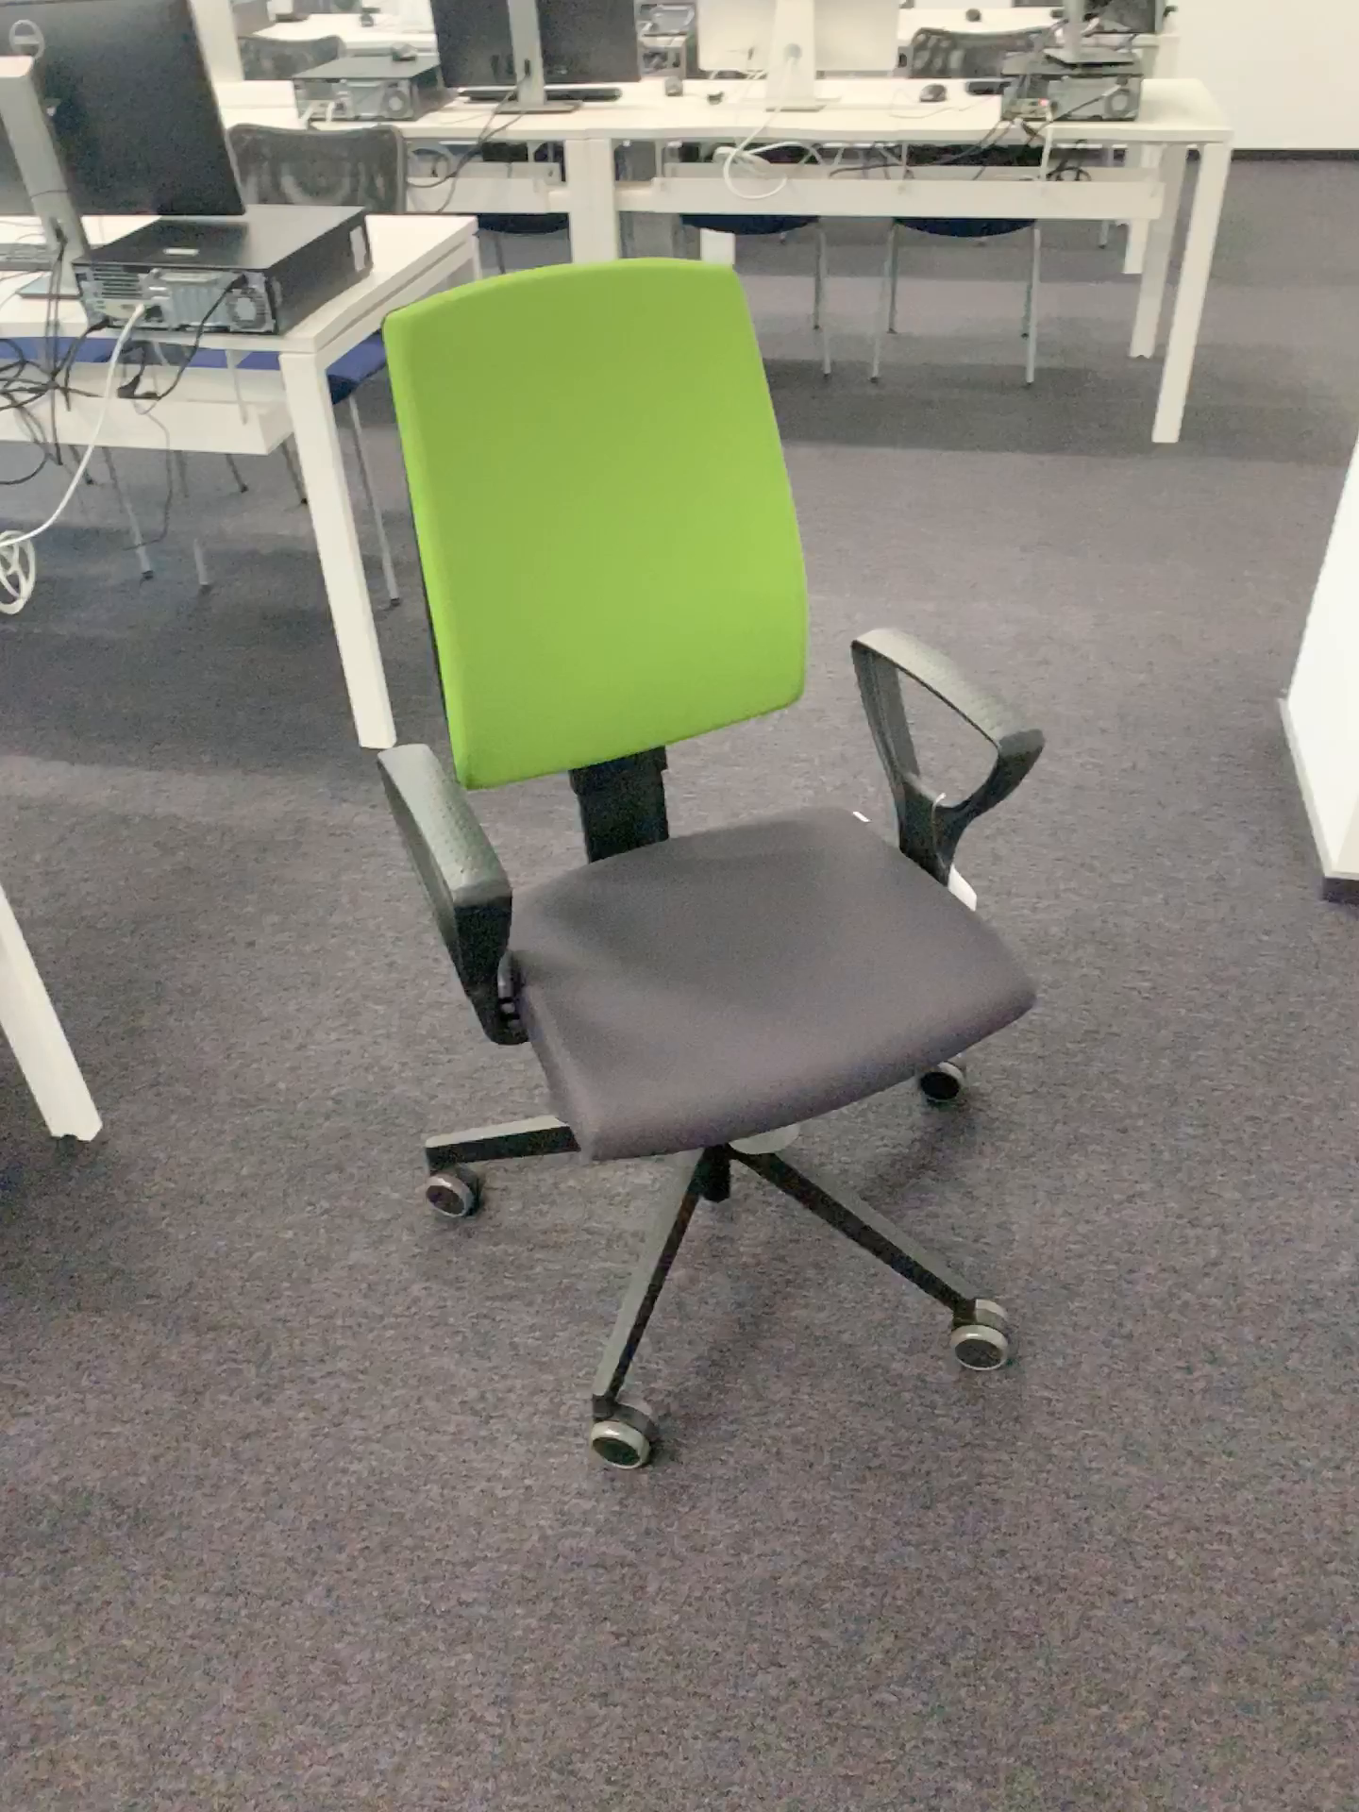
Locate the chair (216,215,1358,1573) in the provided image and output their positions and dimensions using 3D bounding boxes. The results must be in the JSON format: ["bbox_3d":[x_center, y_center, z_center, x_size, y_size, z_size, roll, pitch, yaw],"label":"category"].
[{"bbox_3d":[0.073,-0.030,1.438,0.721,1.054,0.673,-18,41,-19],"label":"chair"}]
